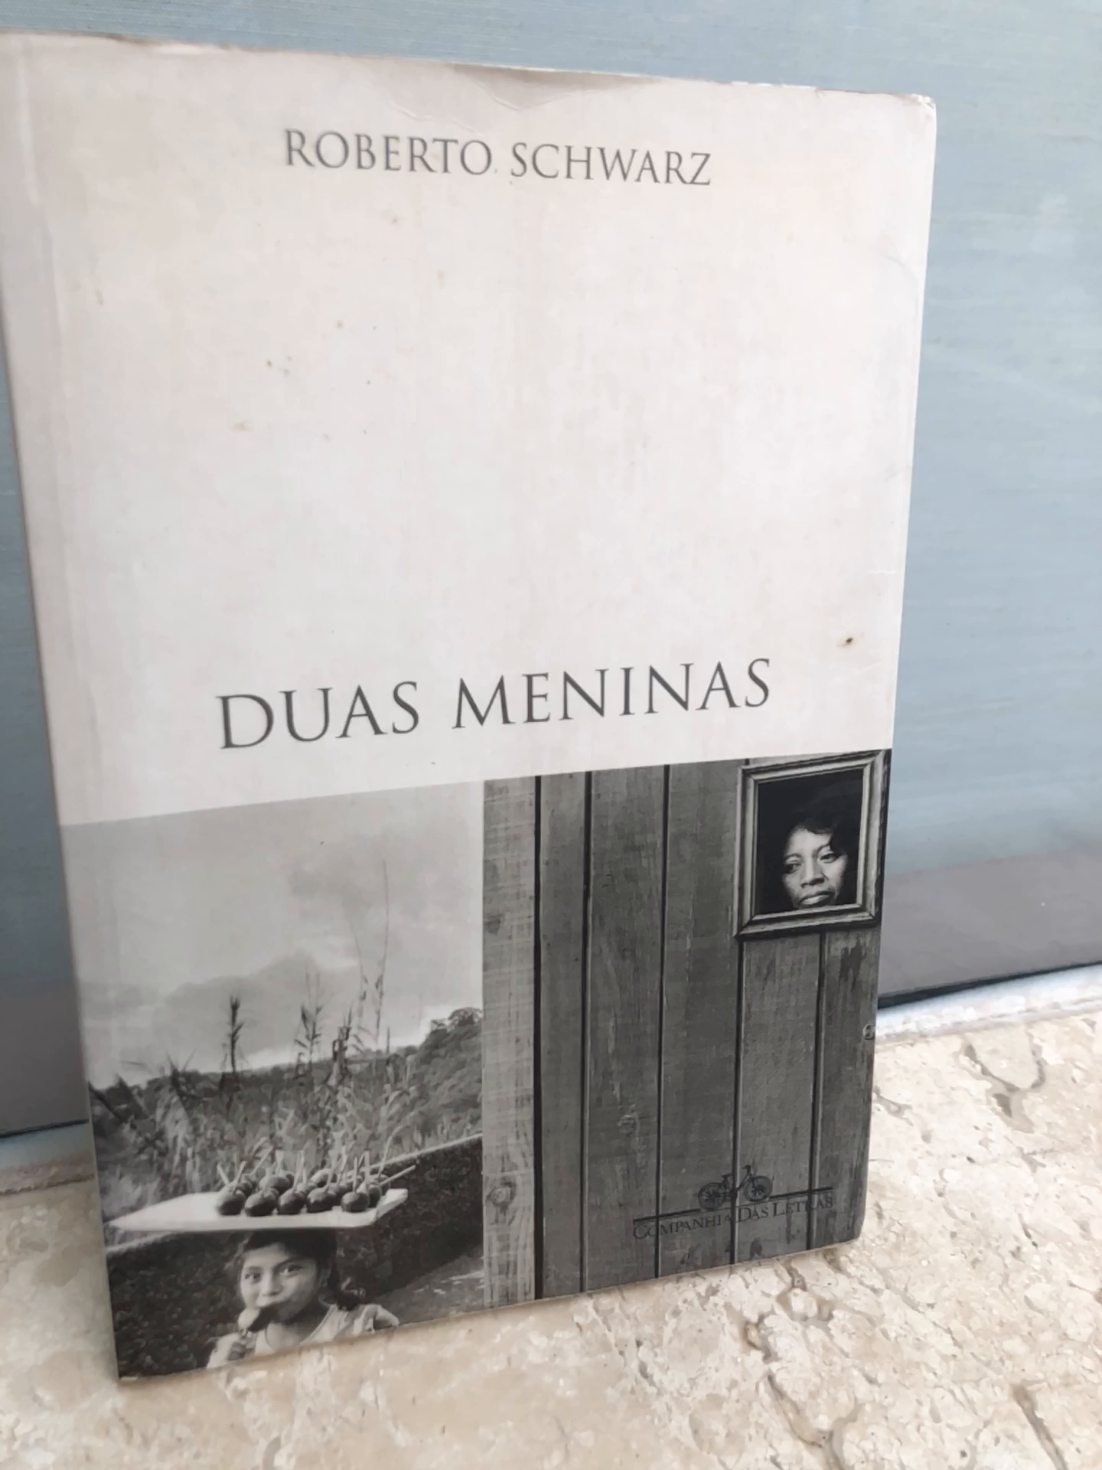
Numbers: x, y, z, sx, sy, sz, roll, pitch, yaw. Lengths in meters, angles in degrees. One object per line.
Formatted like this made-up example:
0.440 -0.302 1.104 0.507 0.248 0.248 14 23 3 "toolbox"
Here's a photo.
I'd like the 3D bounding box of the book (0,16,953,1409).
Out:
-0.009 0.005 0.199 0.139 0.205 0.016 -5 16 -14 "book"
